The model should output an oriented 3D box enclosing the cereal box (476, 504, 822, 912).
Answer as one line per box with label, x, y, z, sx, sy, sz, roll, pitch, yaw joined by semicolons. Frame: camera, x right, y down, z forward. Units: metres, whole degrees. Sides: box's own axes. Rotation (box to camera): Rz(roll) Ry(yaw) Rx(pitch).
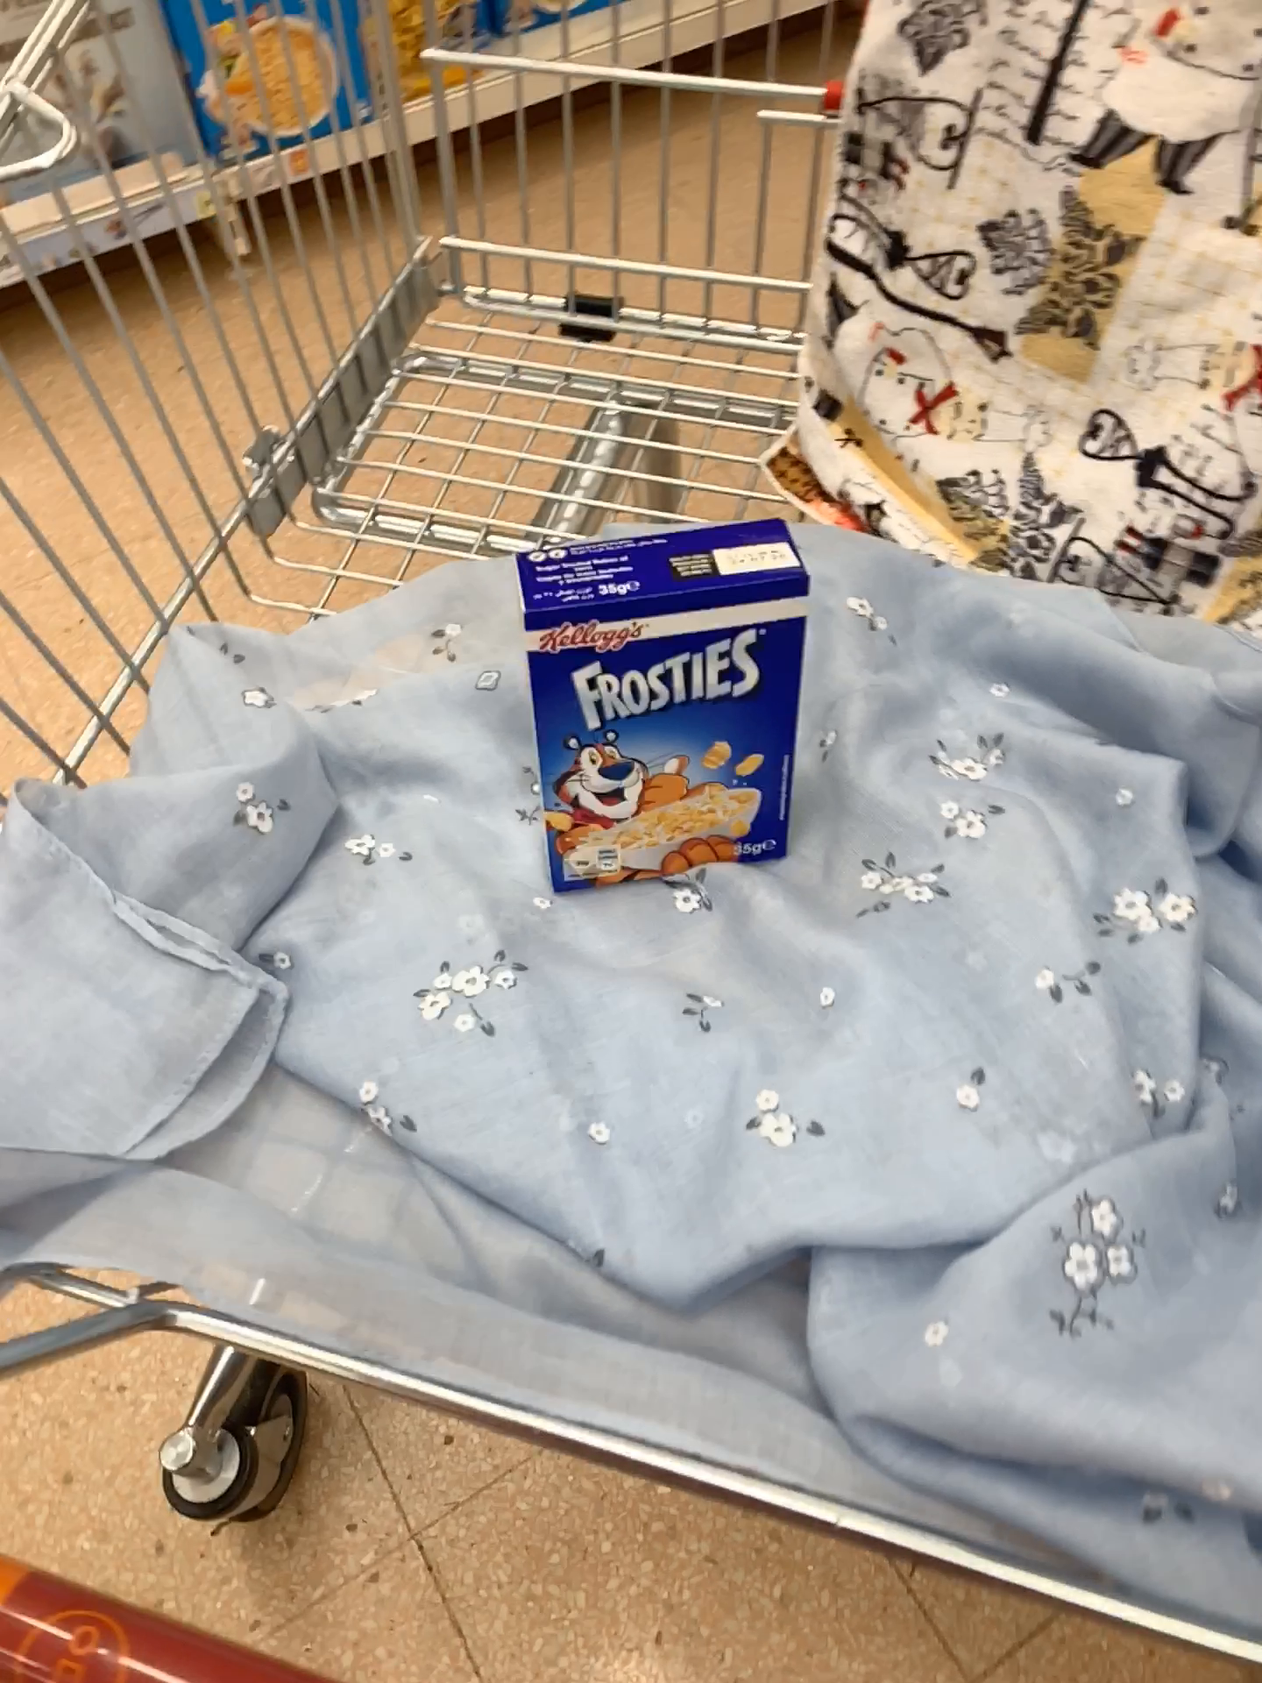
cereal box;0.008;-0.041;0.439;0.100;0.129;0.040;-9;46;-4
